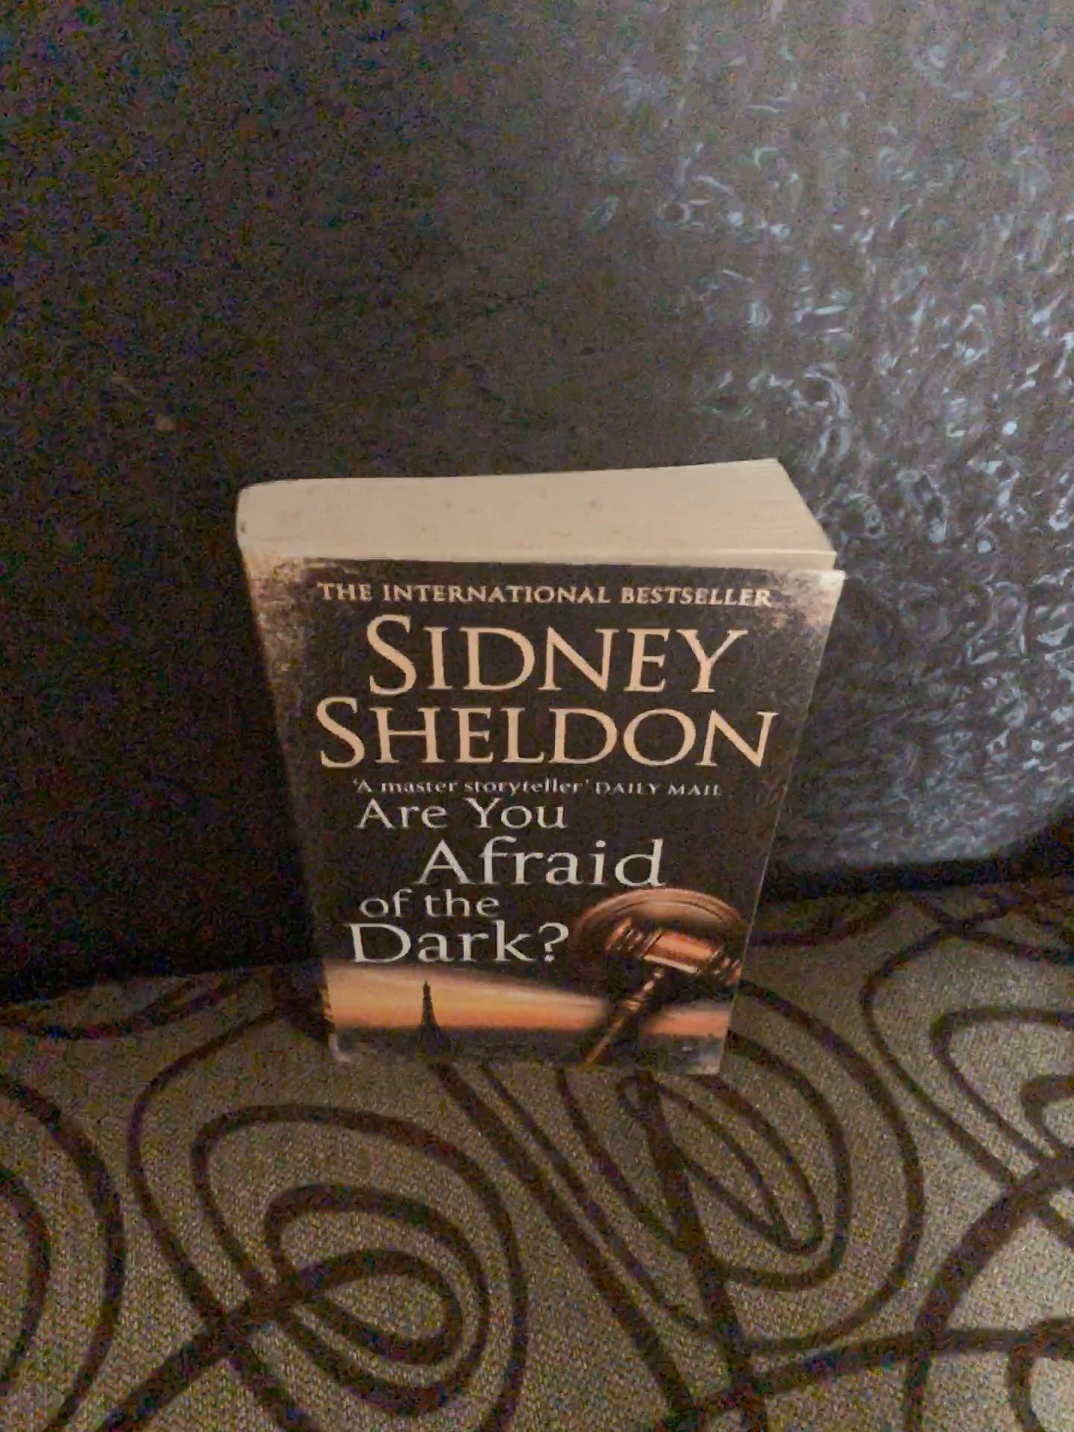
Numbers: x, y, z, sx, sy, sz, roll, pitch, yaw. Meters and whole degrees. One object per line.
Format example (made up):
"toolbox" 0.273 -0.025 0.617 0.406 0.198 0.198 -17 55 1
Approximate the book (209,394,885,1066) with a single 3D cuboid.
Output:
"book" -0.005 0.017 0.270 0.120 0.179 0.040 1 41 -6
